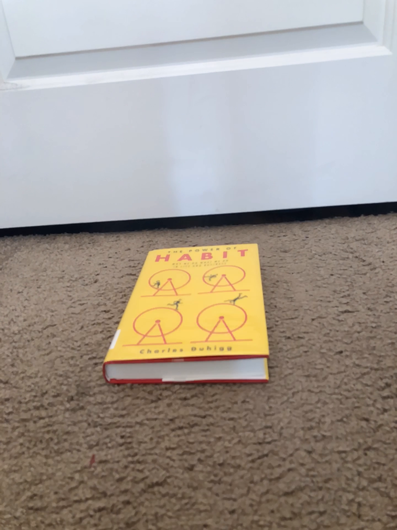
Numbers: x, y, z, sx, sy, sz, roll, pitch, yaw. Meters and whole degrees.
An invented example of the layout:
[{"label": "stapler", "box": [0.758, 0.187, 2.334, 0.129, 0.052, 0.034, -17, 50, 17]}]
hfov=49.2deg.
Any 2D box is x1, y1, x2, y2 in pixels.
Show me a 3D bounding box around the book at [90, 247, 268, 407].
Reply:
[{"label": "book", "box": [-0.008, 0.057, 0.516, 0.164, 0.040, 0.252, -4, 27, 8]}]
